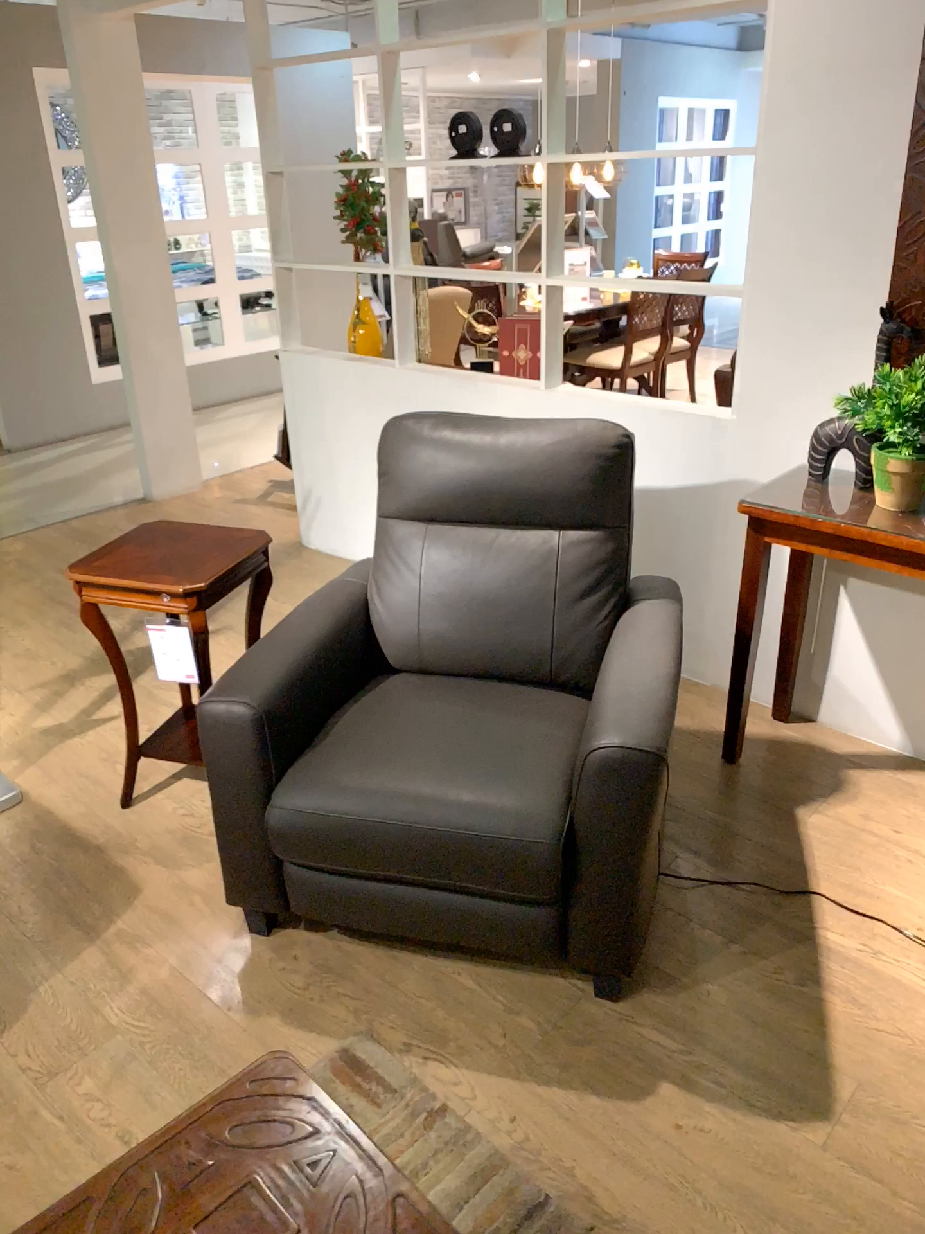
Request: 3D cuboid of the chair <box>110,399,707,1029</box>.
[{"bbox_3d":[-0.003,0.105,2.063,0.940,0.926,0.923,5,26,15],"label":"chair"}]
